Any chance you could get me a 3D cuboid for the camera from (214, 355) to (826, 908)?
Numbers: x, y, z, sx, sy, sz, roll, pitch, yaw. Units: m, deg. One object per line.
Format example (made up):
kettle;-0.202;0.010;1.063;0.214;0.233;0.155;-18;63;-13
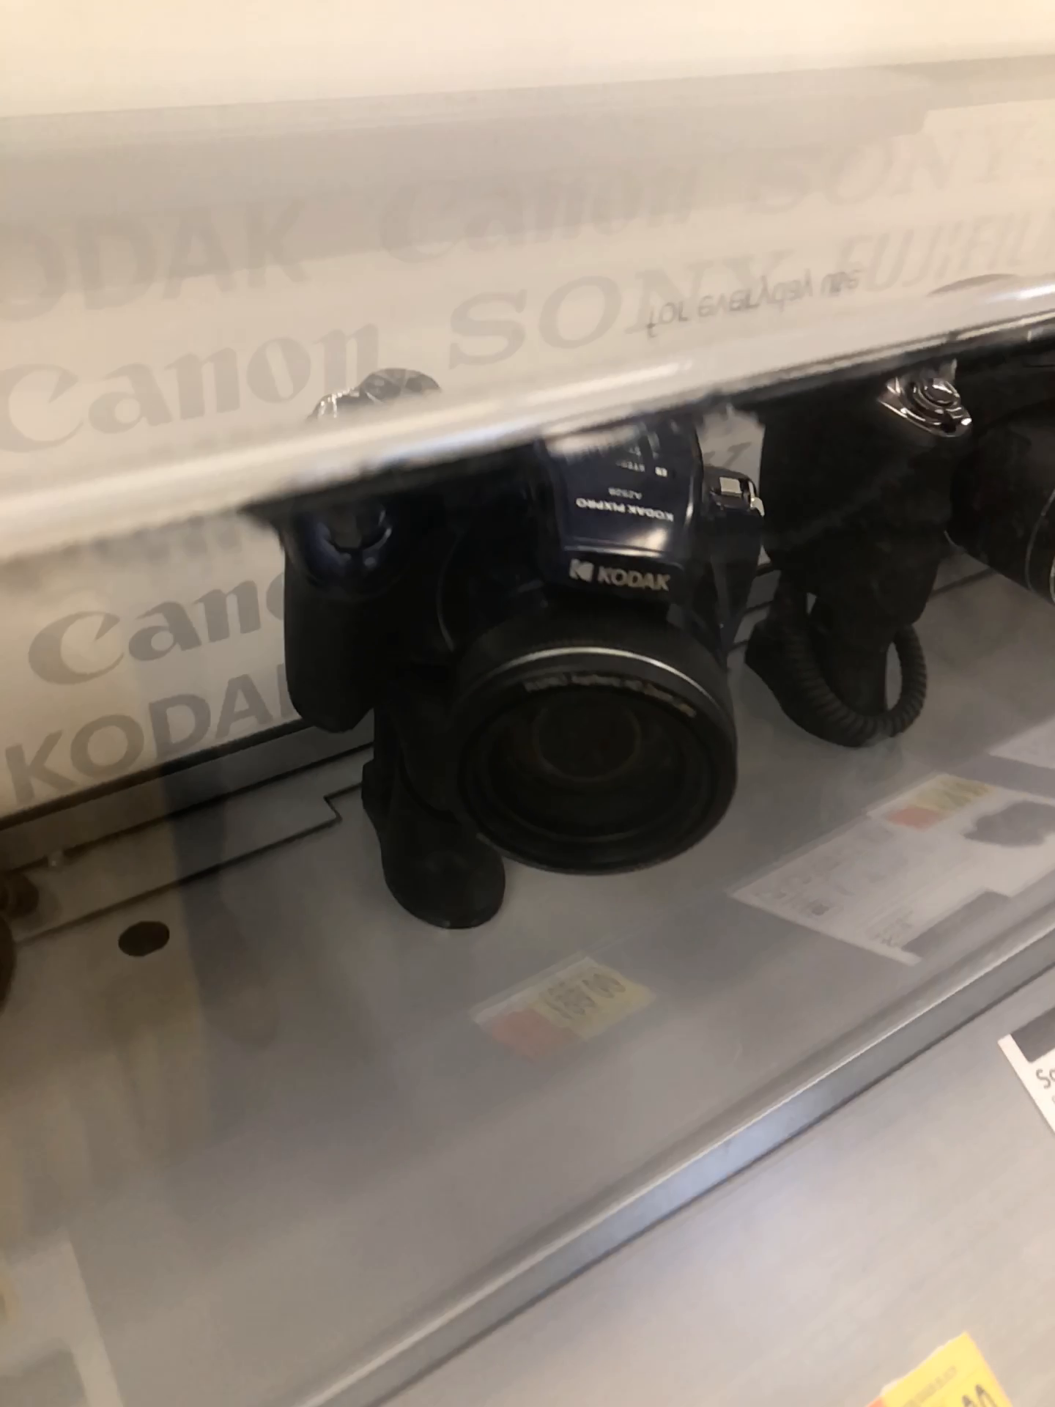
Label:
camera;-0.003;-0.022;0.299;0.120;0.090;0.111;3;37;-2
